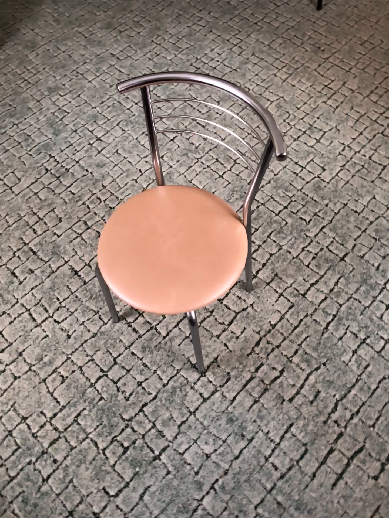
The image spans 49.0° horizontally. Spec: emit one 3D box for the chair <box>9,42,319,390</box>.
[{"bbox_3d":[-0.033,-0.046,1.194,0.443,0.805,0.452,27,64,18],"label":"chair"}]
